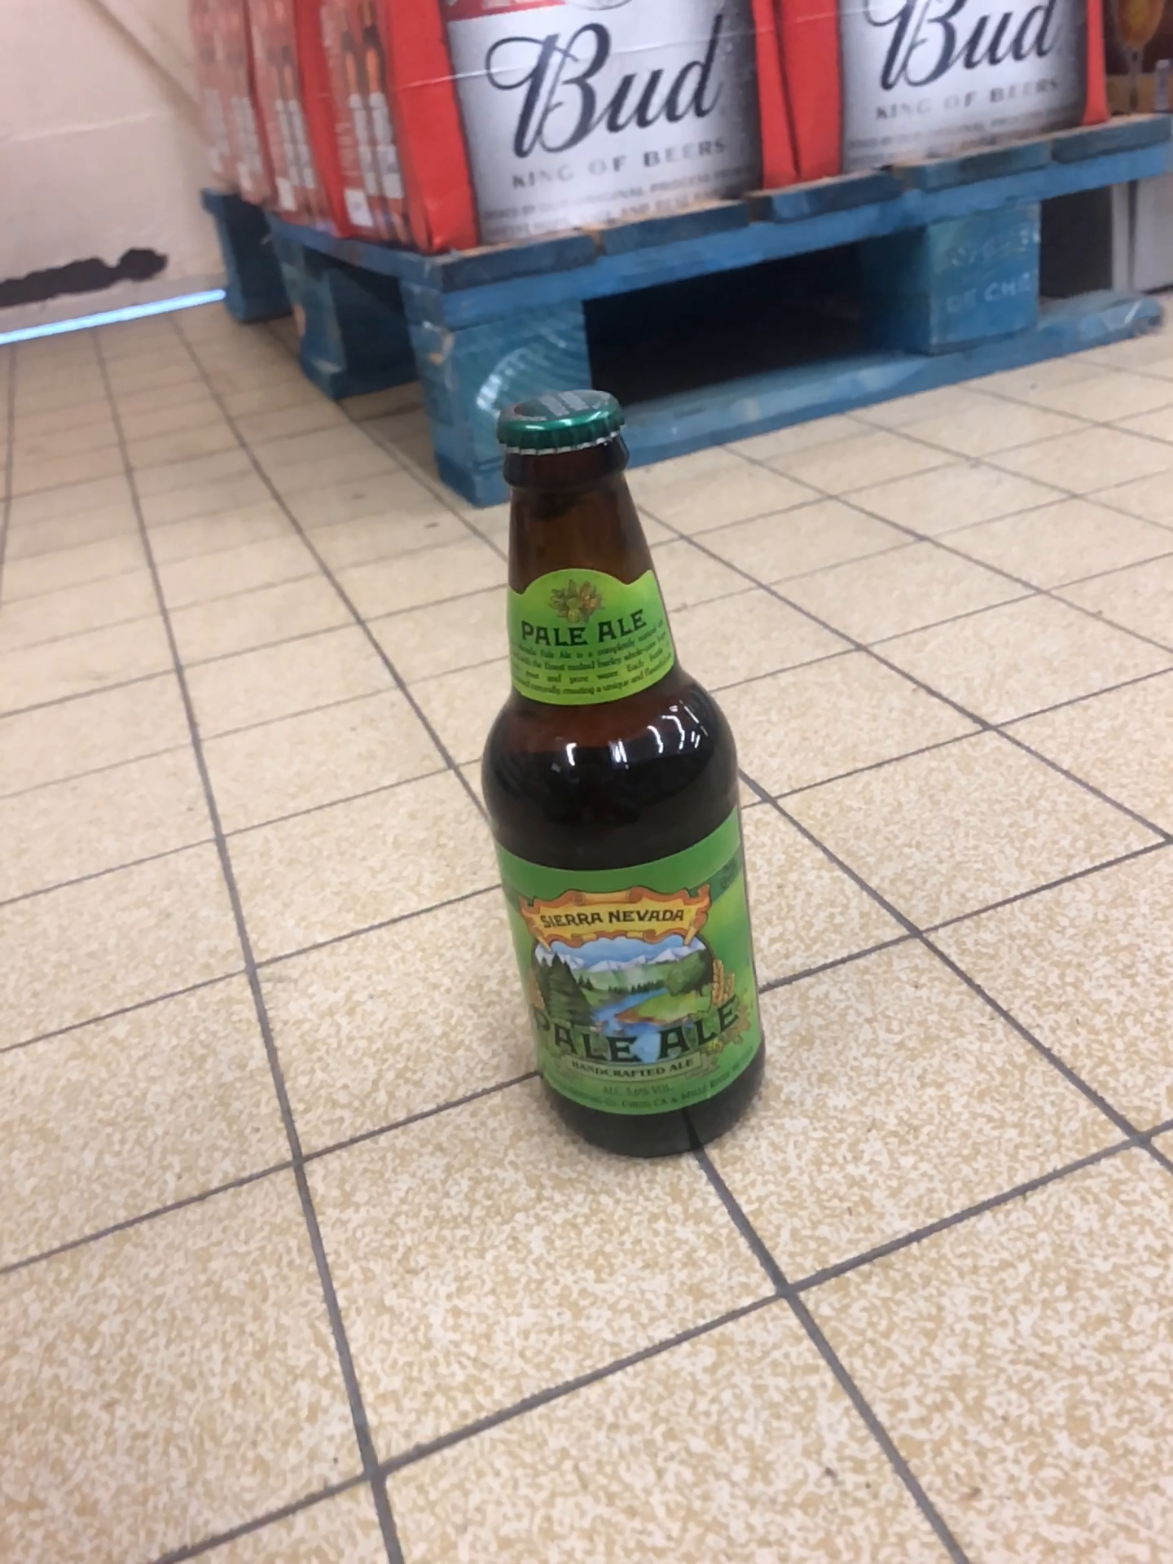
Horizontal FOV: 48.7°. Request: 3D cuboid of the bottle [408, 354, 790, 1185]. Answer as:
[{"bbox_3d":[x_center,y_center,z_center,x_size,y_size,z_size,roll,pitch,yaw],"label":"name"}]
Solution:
[{"bbox_3d":[0.008,0.002,0.322,0.060,0.189,0.070,-8,28,3],"label":"bottle"}]
